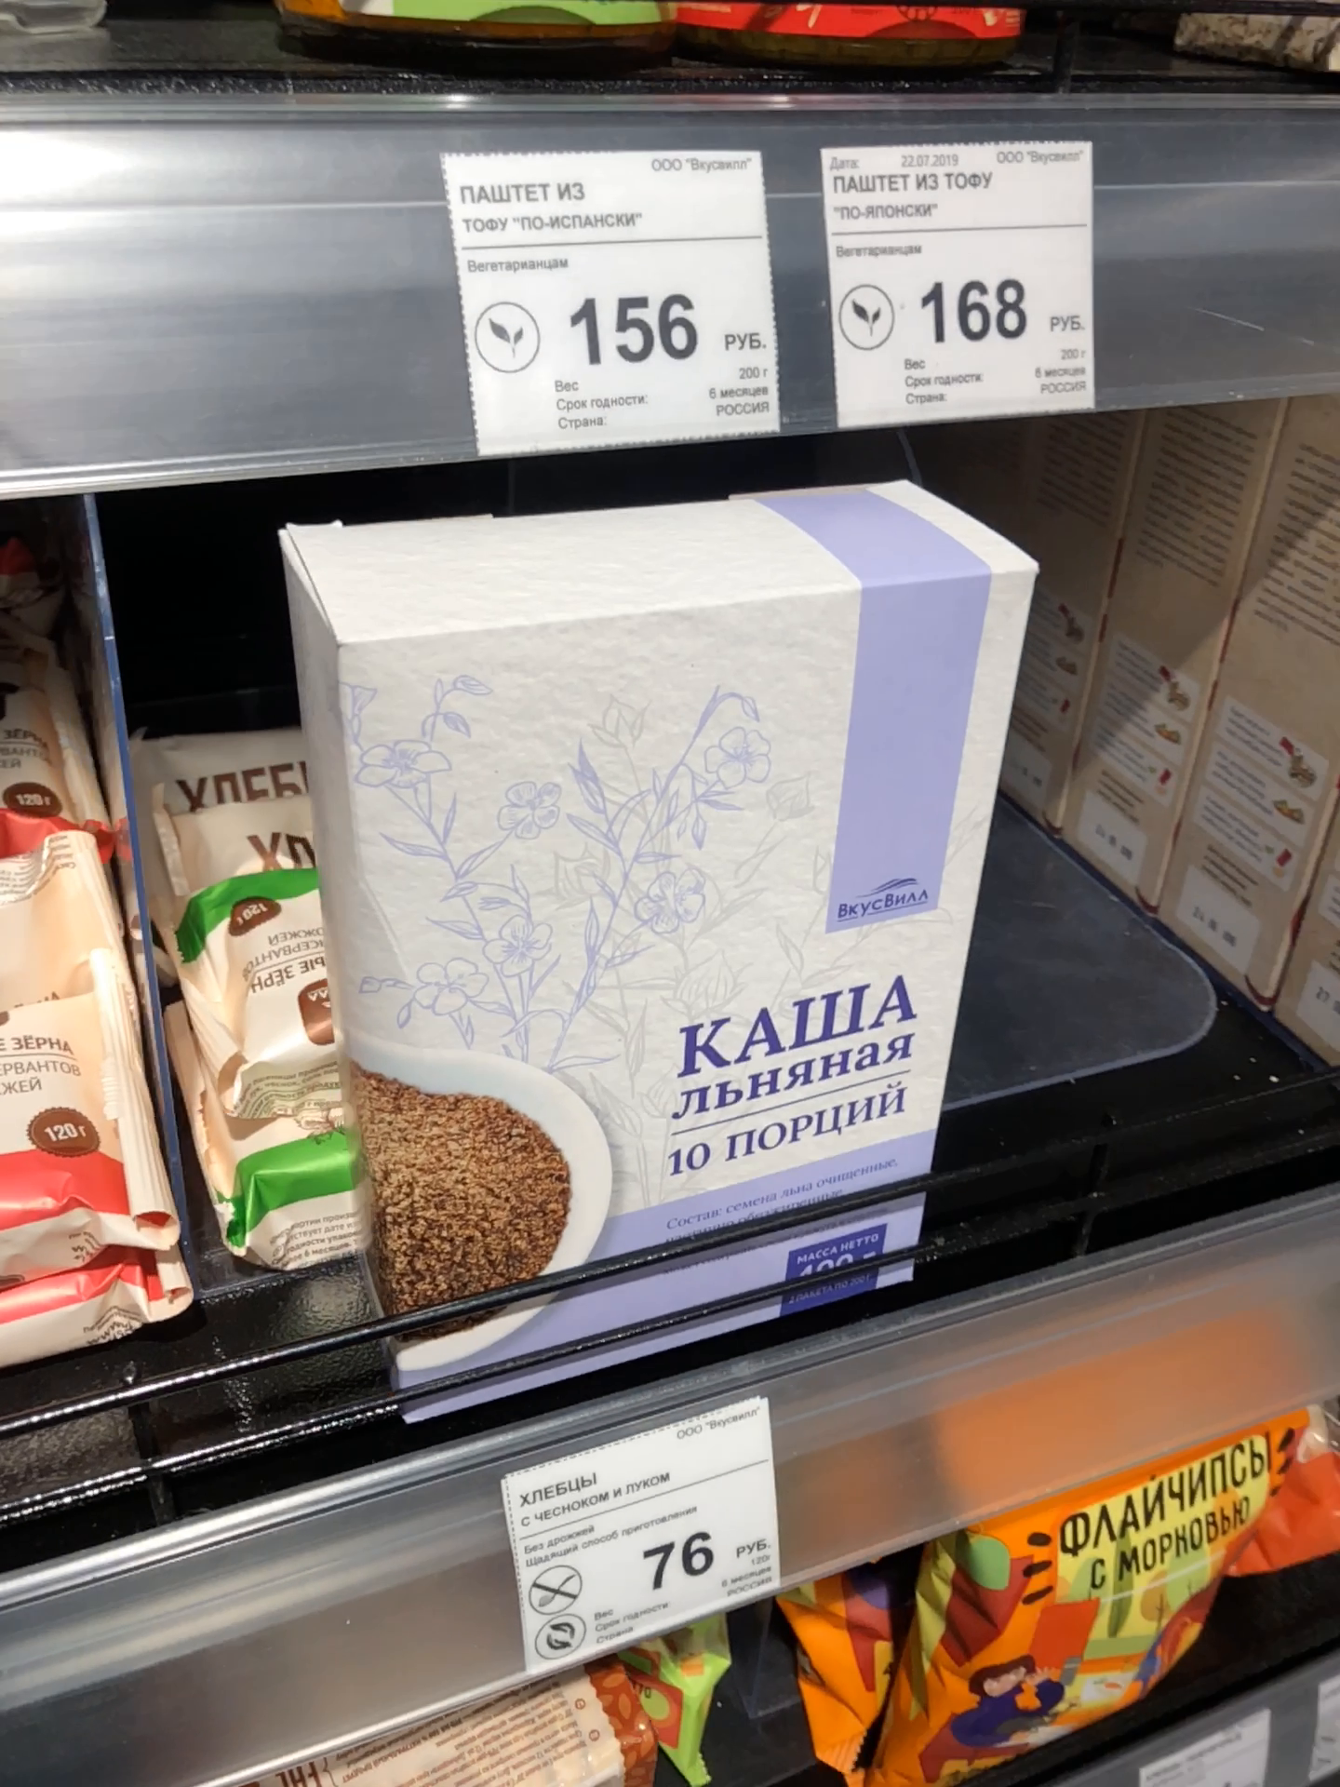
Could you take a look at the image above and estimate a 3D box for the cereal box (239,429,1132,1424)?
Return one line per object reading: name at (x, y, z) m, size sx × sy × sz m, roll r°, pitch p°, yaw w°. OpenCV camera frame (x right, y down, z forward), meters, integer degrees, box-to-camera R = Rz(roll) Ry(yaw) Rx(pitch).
cereal box at (0.001, 0.009, 0.313) m, size 0.150 × 0.189 × 0.050 m, roll -10°, pitch 35°, yaw -19°
